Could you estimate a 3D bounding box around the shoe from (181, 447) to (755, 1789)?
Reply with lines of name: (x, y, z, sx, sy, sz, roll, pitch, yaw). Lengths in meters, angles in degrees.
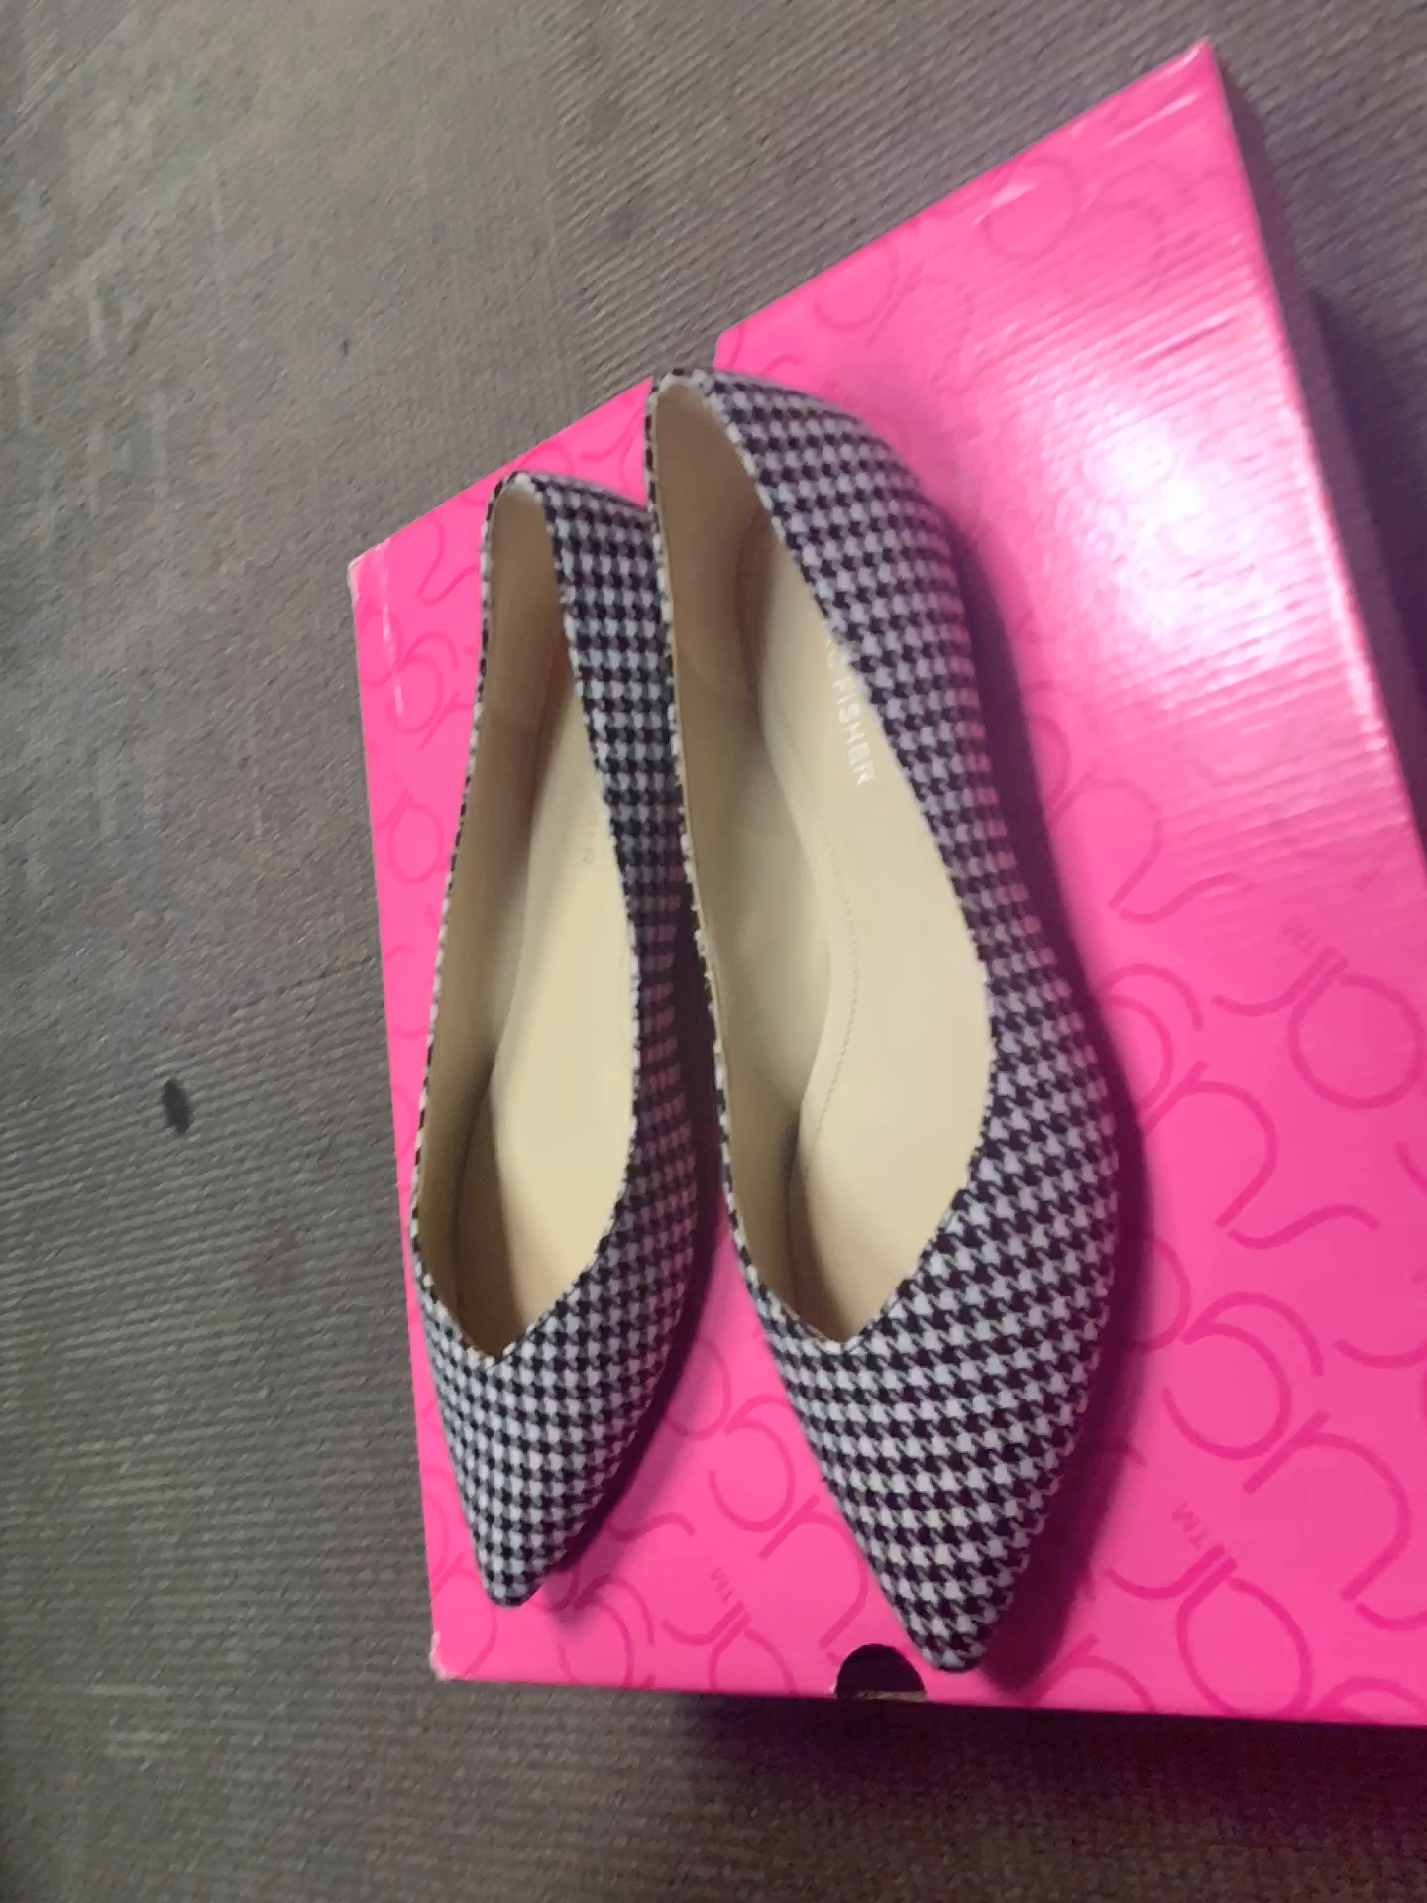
shoe: (-0.056, 0.031, 0.340, 0.080, 0.060, 0.270, 4, 85, 37)

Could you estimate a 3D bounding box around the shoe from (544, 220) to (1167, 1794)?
shoe: (0.023, 0.005, 0.300, 0.080, 0.060, 0.280, -14, 74, 35)
